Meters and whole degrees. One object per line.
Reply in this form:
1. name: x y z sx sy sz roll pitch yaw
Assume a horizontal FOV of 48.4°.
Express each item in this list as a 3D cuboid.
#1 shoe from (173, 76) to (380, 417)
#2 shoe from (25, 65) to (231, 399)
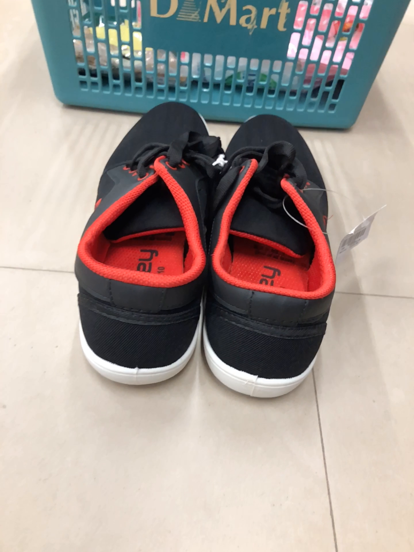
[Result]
1. shoe: 0.048 -0.041 0.365 0.105 0.102 0.262 9 49 0
2. shoe: -0.047 -0.050 0.361 0.105 0.102 0.262 3 49 -5
